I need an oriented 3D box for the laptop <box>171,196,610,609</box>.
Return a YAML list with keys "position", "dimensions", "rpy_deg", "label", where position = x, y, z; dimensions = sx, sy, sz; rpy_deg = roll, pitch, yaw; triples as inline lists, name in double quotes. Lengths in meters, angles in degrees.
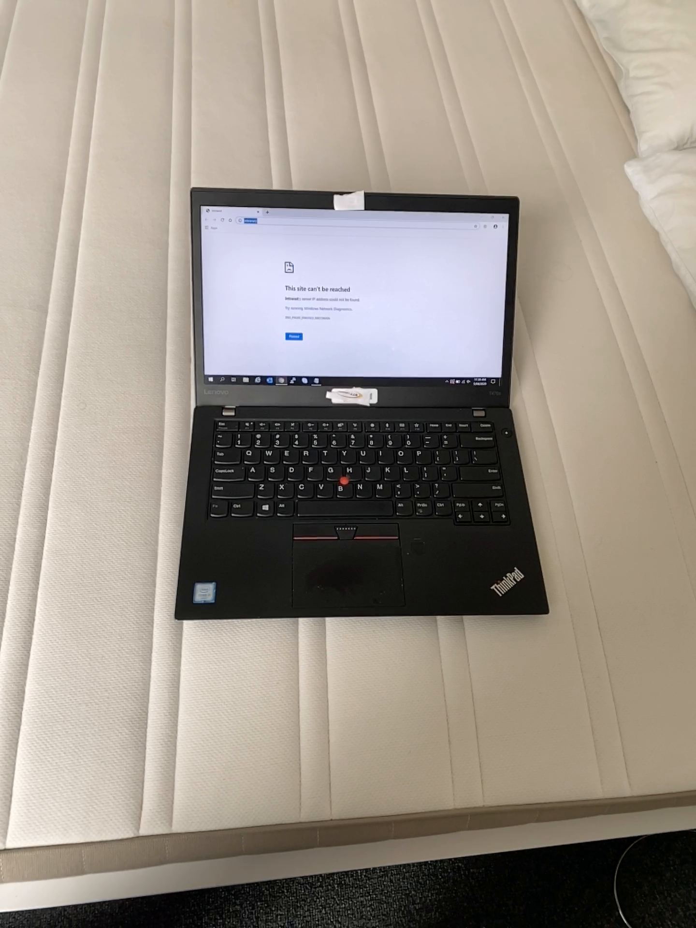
- position: [0.023, -0.067, 0.663]
  dimensions: [0.320, 0.120, 0.382]
  rpy_deg: [1, 58, -6]
  label: "laptop"
